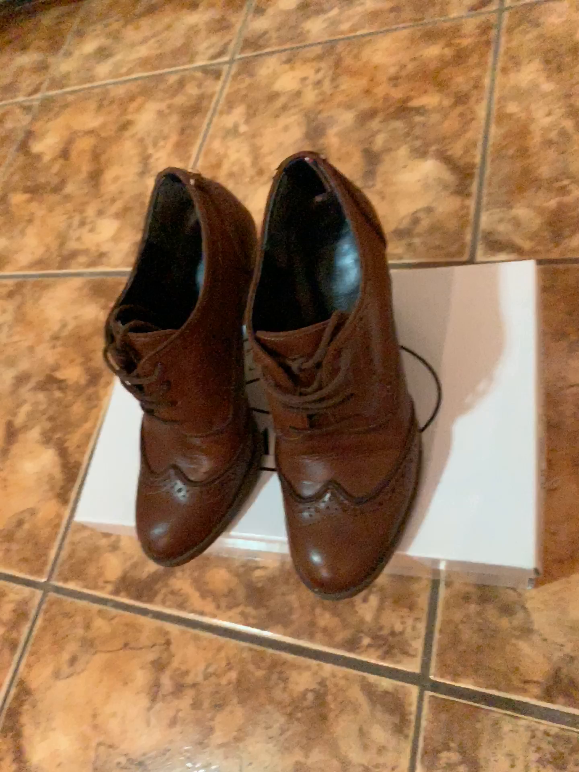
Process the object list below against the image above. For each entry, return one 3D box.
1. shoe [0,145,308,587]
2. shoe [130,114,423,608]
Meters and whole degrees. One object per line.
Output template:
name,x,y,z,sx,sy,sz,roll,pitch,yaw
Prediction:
shoe,-0.079,-0.010,0.378,0.096,0.137,0.228,3,65,24
shoe,0.015,-0.008,0.337,0.096,0.137,0.228,-4,62,21
